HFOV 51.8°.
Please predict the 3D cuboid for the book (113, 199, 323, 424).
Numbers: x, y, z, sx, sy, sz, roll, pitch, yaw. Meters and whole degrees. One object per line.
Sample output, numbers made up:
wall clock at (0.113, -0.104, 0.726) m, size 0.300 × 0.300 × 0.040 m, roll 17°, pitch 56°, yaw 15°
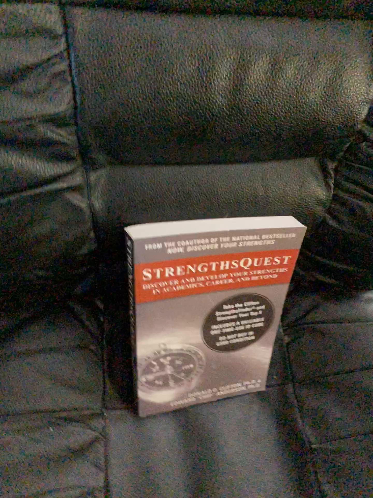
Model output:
book at (0.025, 0.073, 0.381) m, size 0.170 × 0.239 × 0.030 m, roll -7°, pitch 35°, yaw -13°
